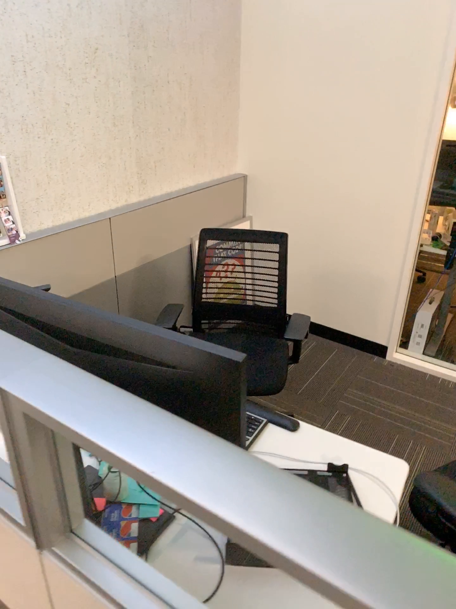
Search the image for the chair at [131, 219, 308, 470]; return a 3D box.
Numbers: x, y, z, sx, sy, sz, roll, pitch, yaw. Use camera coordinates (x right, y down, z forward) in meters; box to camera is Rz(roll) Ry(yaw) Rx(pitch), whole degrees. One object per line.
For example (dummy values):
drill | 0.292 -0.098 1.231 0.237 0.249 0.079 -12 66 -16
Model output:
chair | -0.008 0.163 2.249 0.670 0.955 0.653 4 27 6
